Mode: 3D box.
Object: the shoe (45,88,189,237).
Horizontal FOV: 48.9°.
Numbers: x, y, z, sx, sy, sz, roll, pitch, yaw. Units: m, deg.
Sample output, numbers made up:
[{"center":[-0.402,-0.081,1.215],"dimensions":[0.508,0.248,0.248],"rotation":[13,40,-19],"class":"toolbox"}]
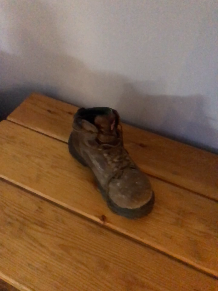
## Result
[{"center":[0.000,0.021,0.525],"dimensions":[0.130,0.130,0.290],"rotation":[-30,57,-26],"class":"shoe"}]
